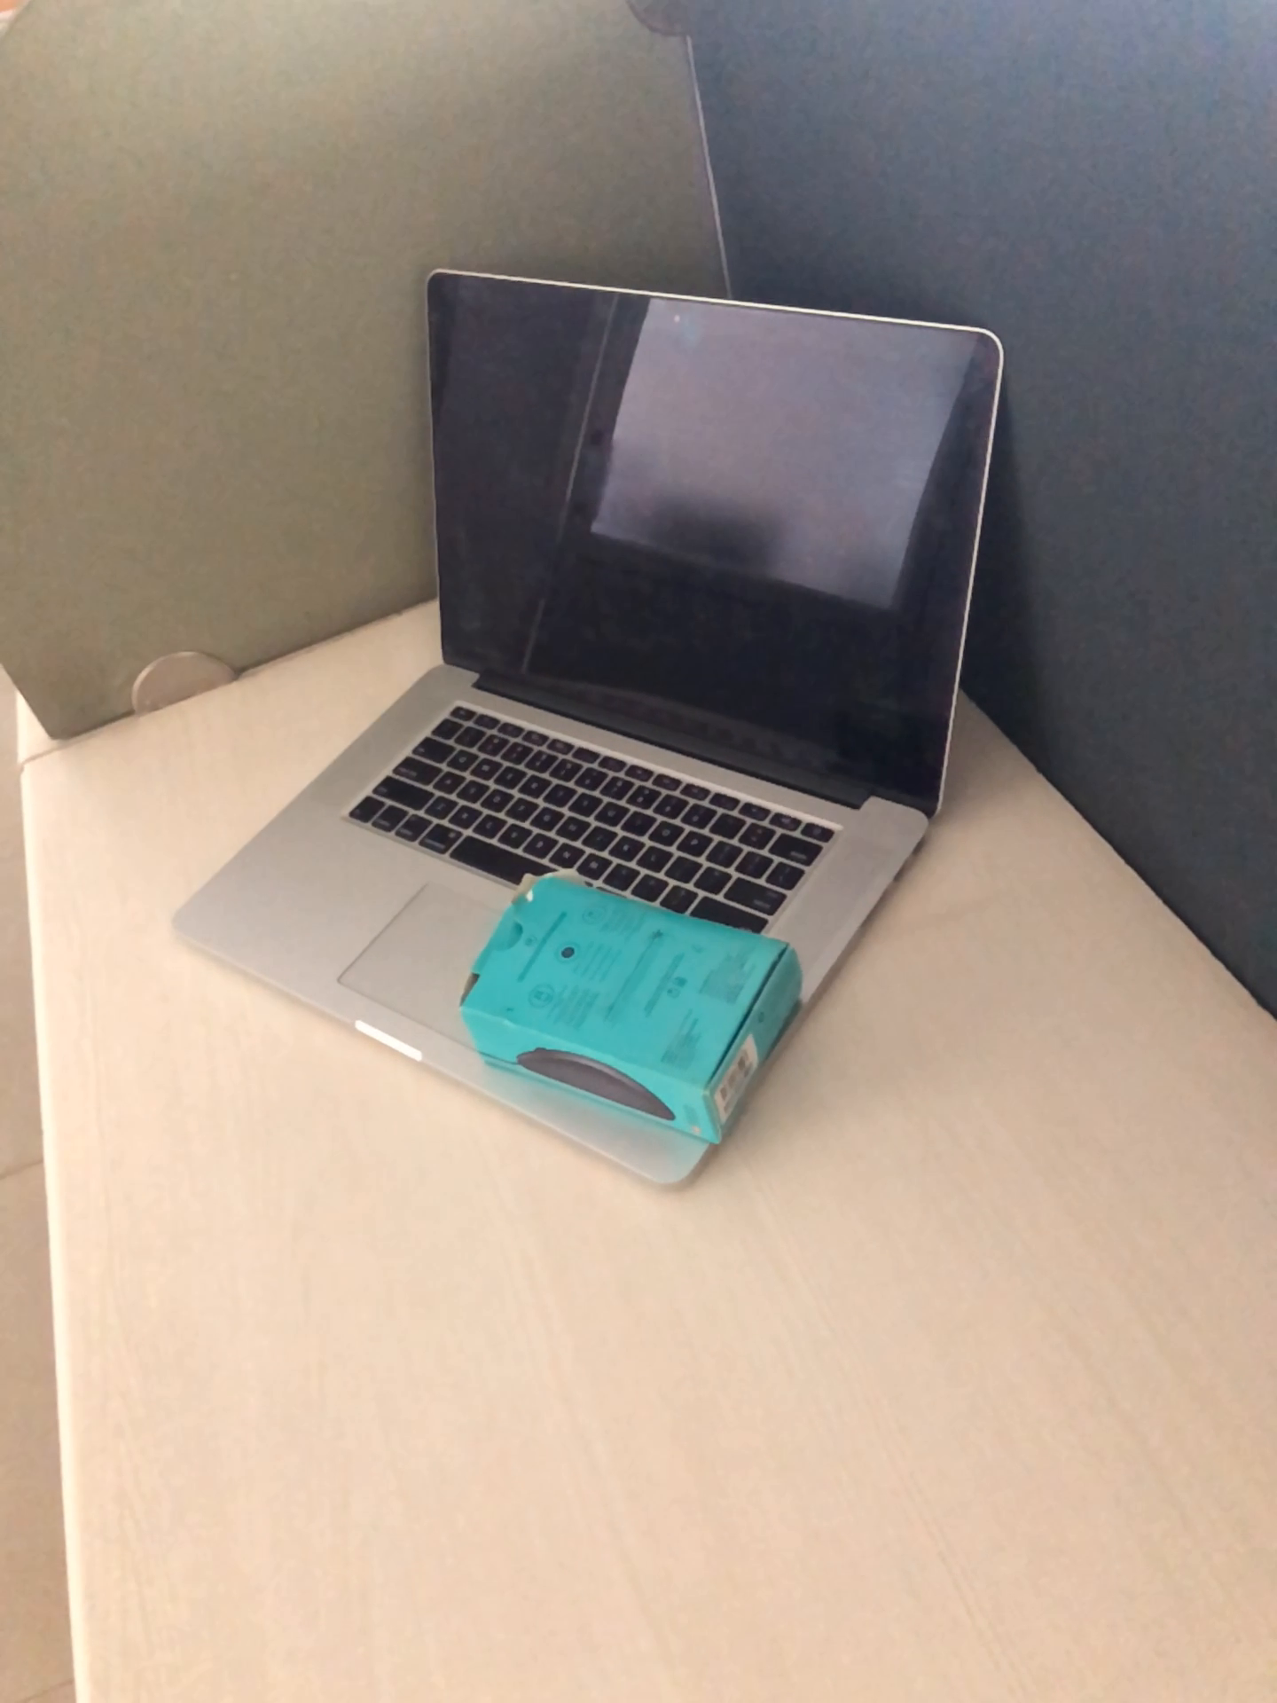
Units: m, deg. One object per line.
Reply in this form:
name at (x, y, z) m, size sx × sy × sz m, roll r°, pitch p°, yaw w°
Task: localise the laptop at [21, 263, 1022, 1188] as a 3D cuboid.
laptop at (-0.039, -0.095, 0.697) m, size 0.329 × 0.200 × 0.339 m, roll 22°, pitch 58°, yaw 33°
